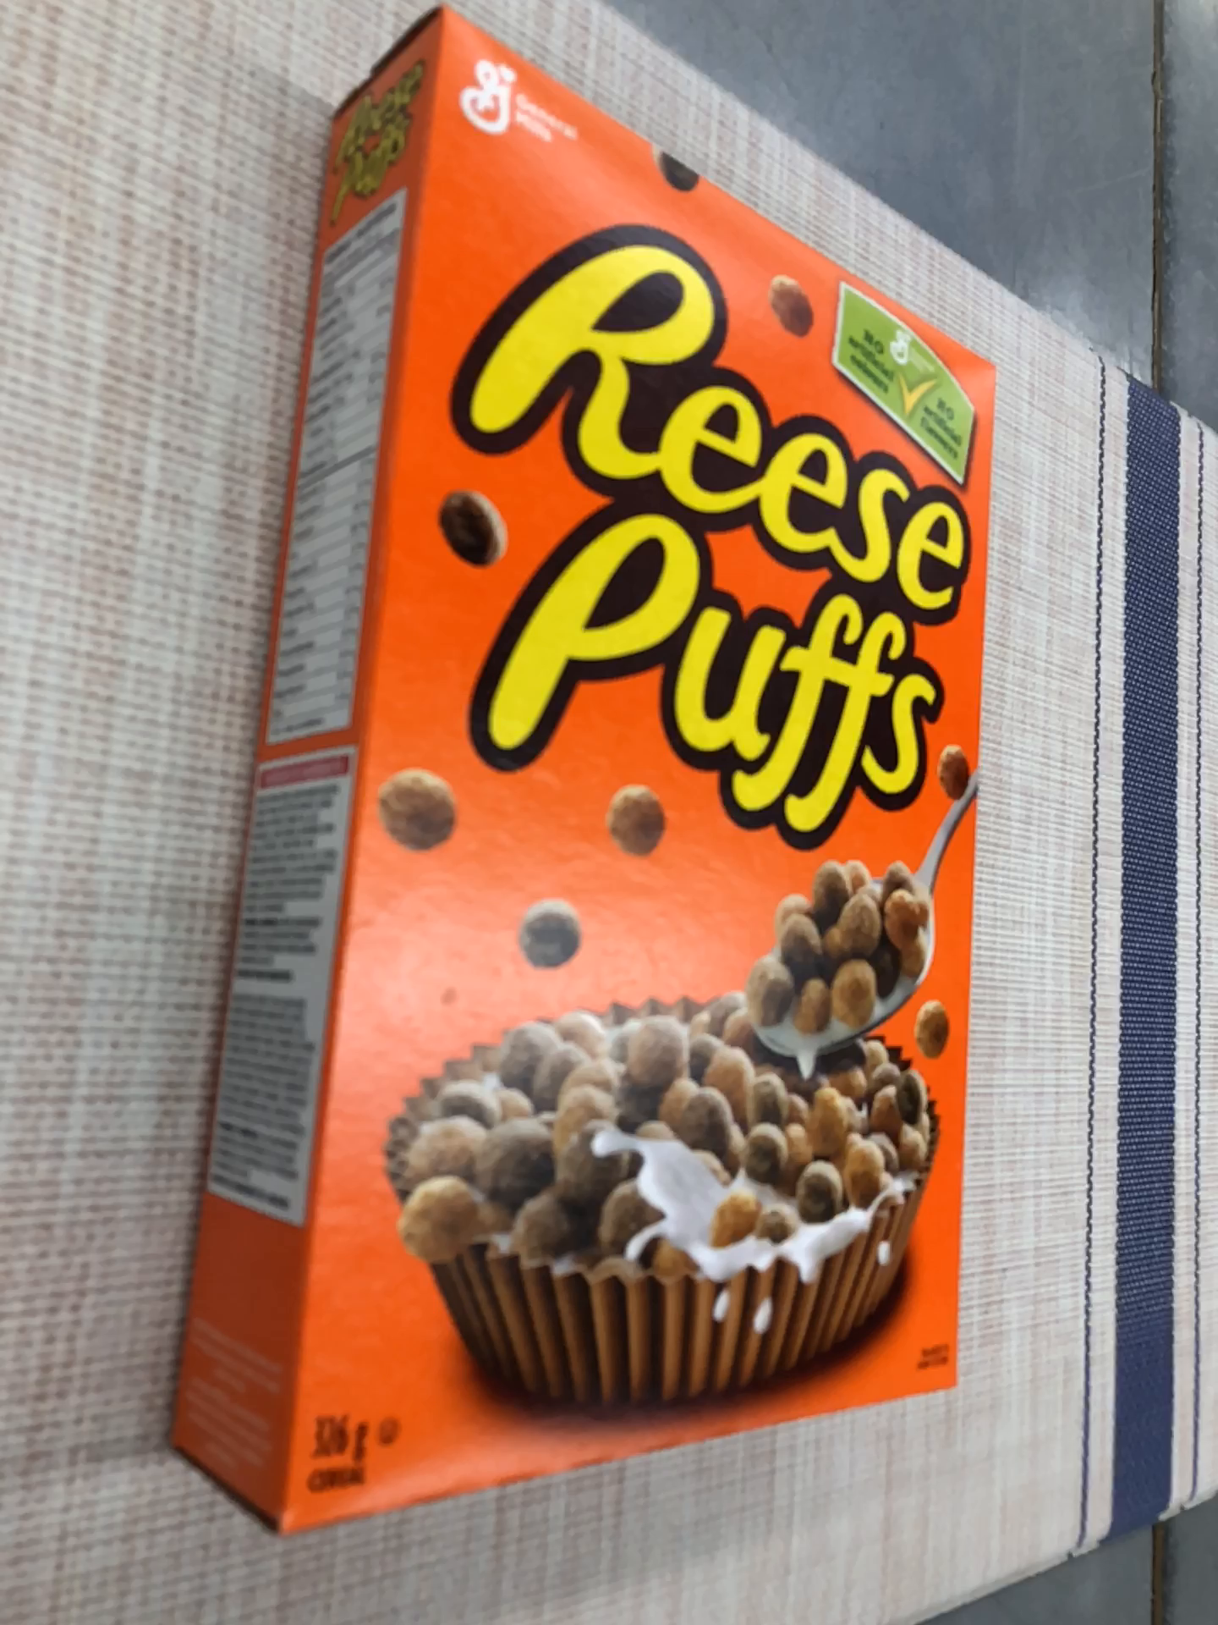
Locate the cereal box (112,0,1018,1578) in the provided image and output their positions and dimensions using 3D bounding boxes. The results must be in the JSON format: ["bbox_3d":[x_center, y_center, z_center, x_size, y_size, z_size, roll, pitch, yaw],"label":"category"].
[{"bbox_3d":[0.012,-0.004,0.314,0.201,0.060,0.280,12,80,-43],"label":"cereal box"}]
